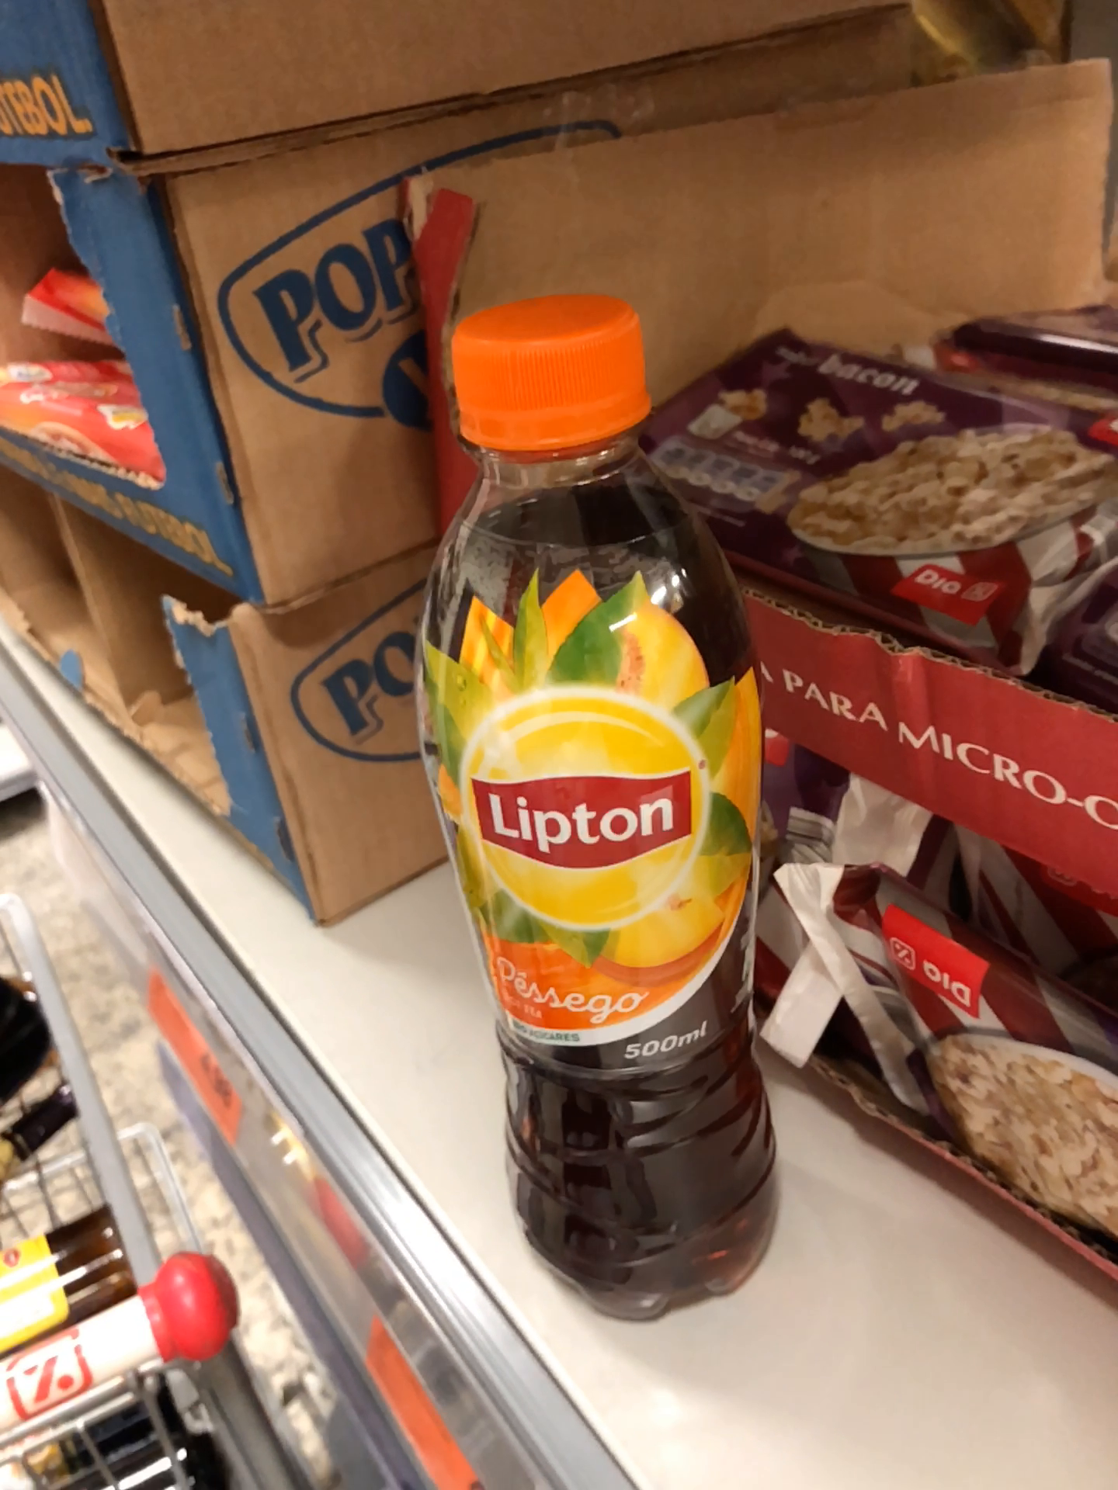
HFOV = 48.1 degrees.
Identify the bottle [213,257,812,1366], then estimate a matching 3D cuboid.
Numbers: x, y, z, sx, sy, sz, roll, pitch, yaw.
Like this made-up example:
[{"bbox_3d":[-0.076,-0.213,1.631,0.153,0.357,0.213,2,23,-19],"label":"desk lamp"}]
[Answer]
[{"bbox_3d":[0.008,0.029,0.250,0.070,0.218,0.071,-7,34,5],"label":"bottle"}]
